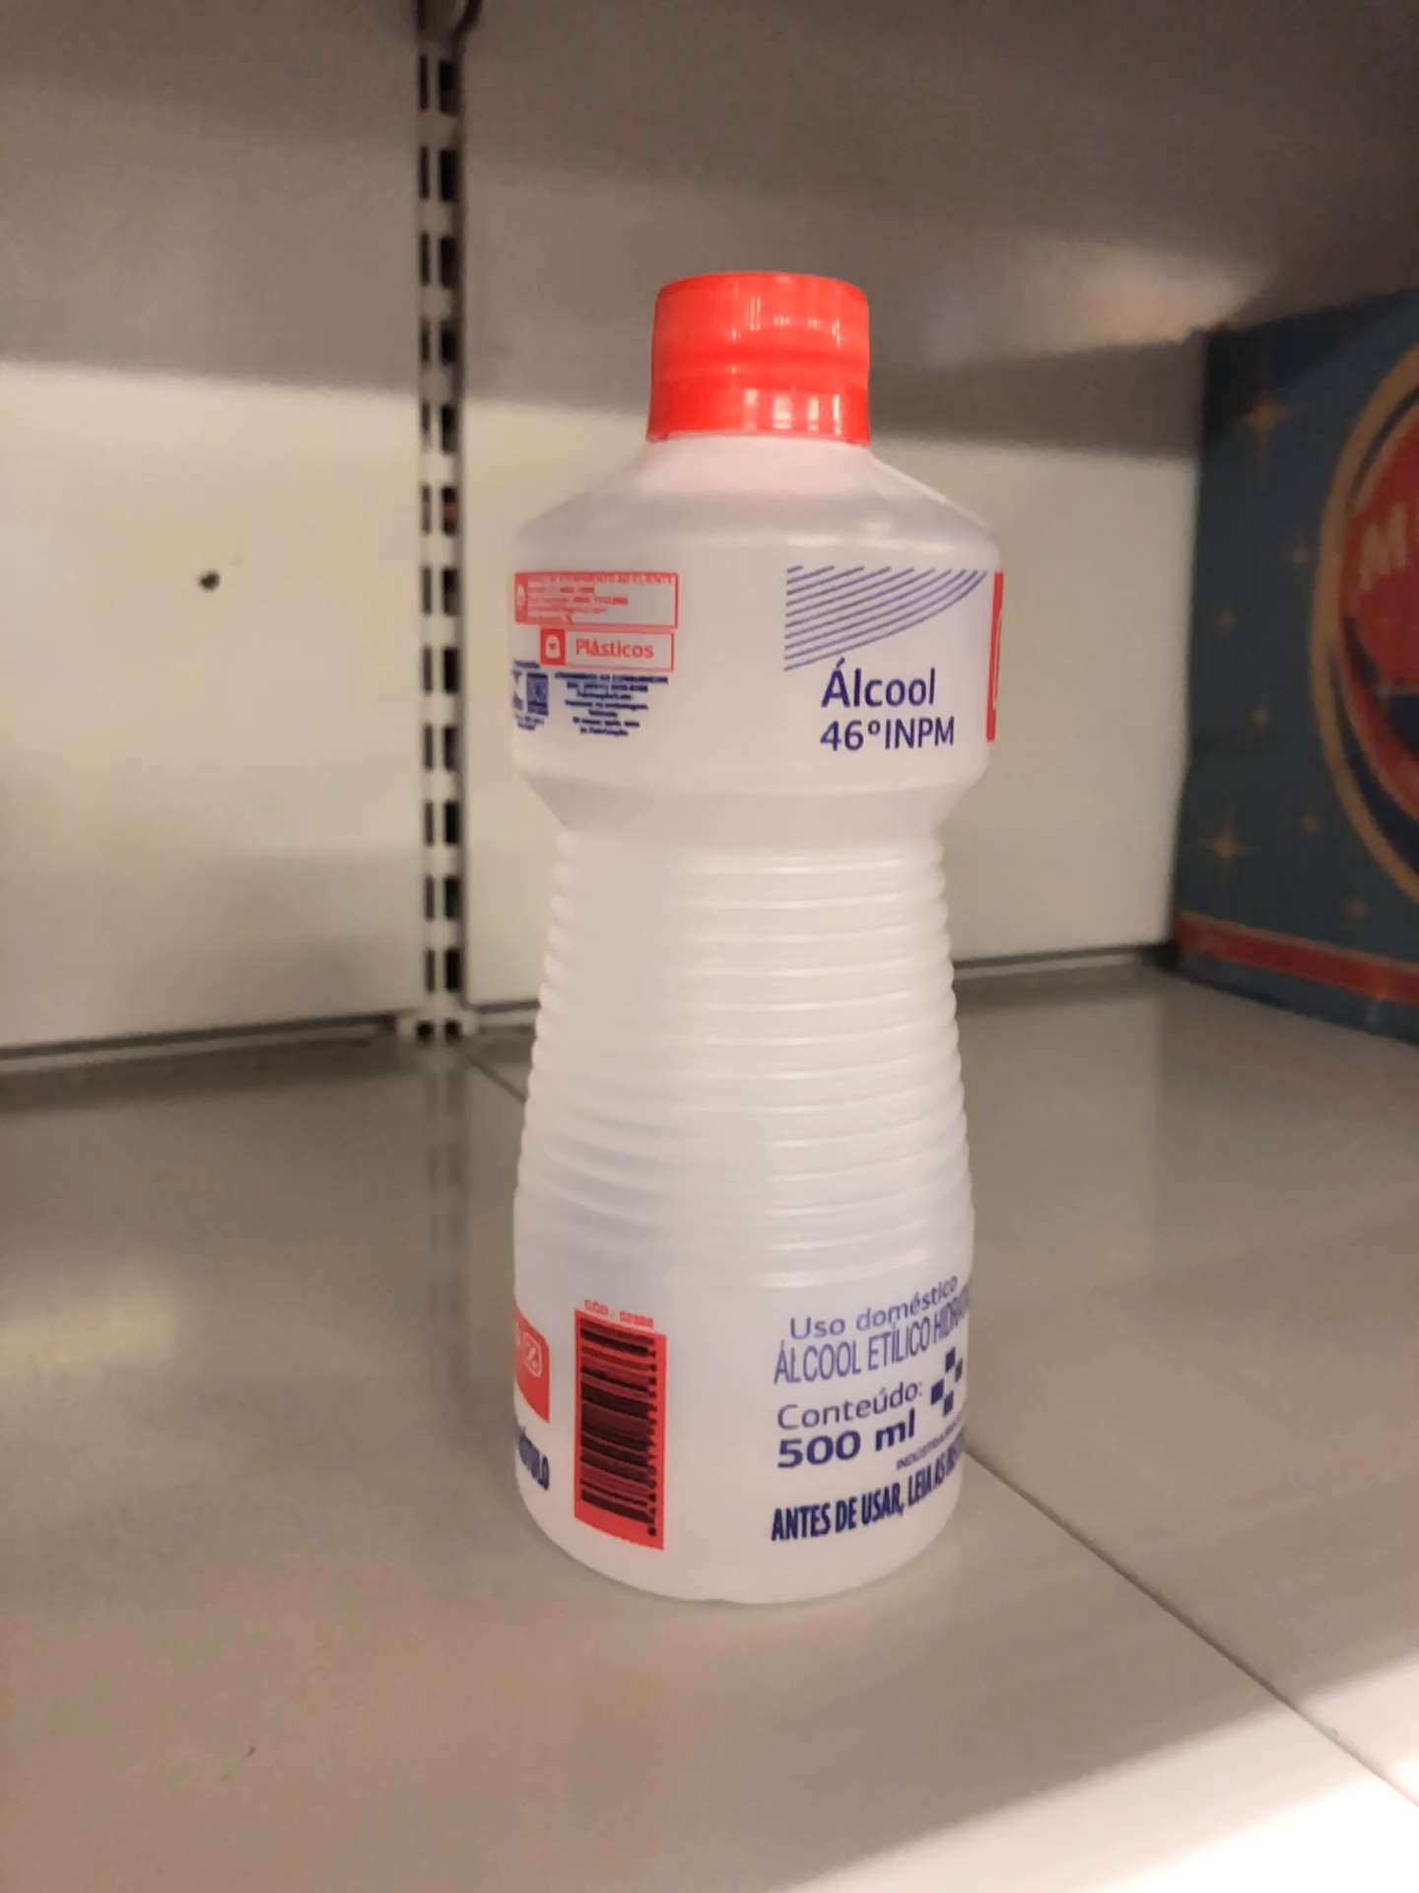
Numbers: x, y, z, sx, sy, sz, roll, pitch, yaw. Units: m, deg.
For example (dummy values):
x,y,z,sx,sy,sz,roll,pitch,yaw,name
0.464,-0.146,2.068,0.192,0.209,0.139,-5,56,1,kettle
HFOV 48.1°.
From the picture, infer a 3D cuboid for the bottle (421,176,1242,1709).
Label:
x,y,z,sx,sy,sz,roll,pitch,yaw,name
0.015,-0.004,0.237,0.080,0.179,0.080,0,12,0,bottle
